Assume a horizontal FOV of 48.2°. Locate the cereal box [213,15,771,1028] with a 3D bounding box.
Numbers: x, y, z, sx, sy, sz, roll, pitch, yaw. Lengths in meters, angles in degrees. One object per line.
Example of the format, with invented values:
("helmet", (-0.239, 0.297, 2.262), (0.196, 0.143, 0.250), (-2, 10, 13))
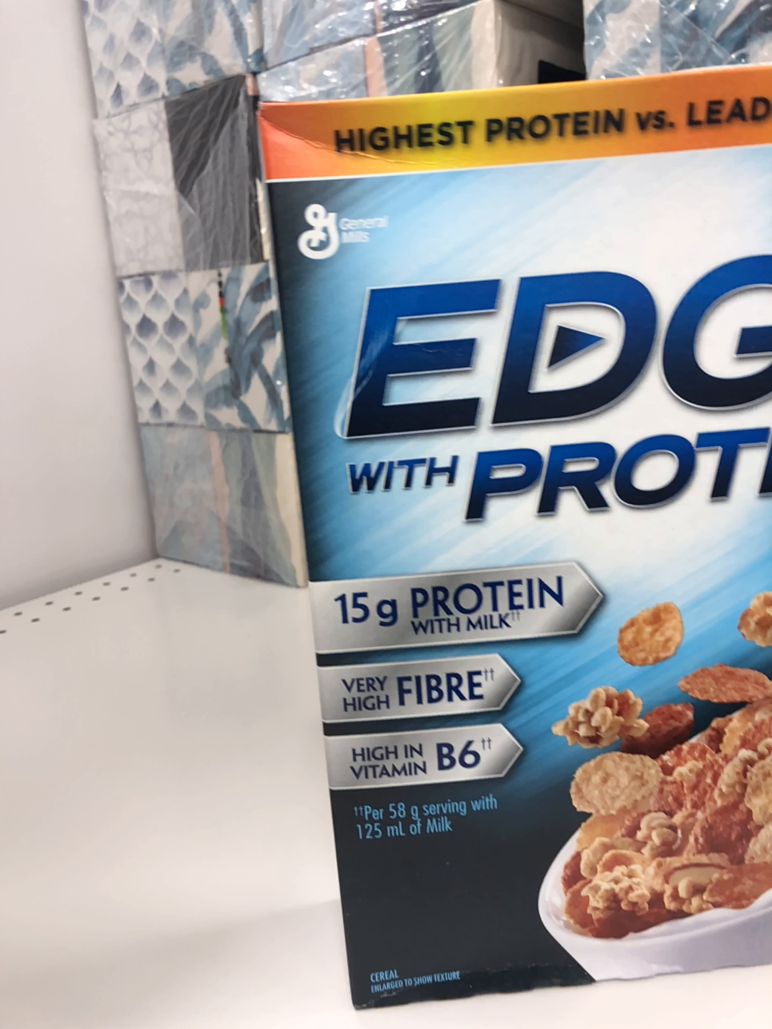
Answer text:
("cereal box", (0.069, 0.016, 0.265), (0.200, 0.279, 0.050), (-6, 14, -3))
